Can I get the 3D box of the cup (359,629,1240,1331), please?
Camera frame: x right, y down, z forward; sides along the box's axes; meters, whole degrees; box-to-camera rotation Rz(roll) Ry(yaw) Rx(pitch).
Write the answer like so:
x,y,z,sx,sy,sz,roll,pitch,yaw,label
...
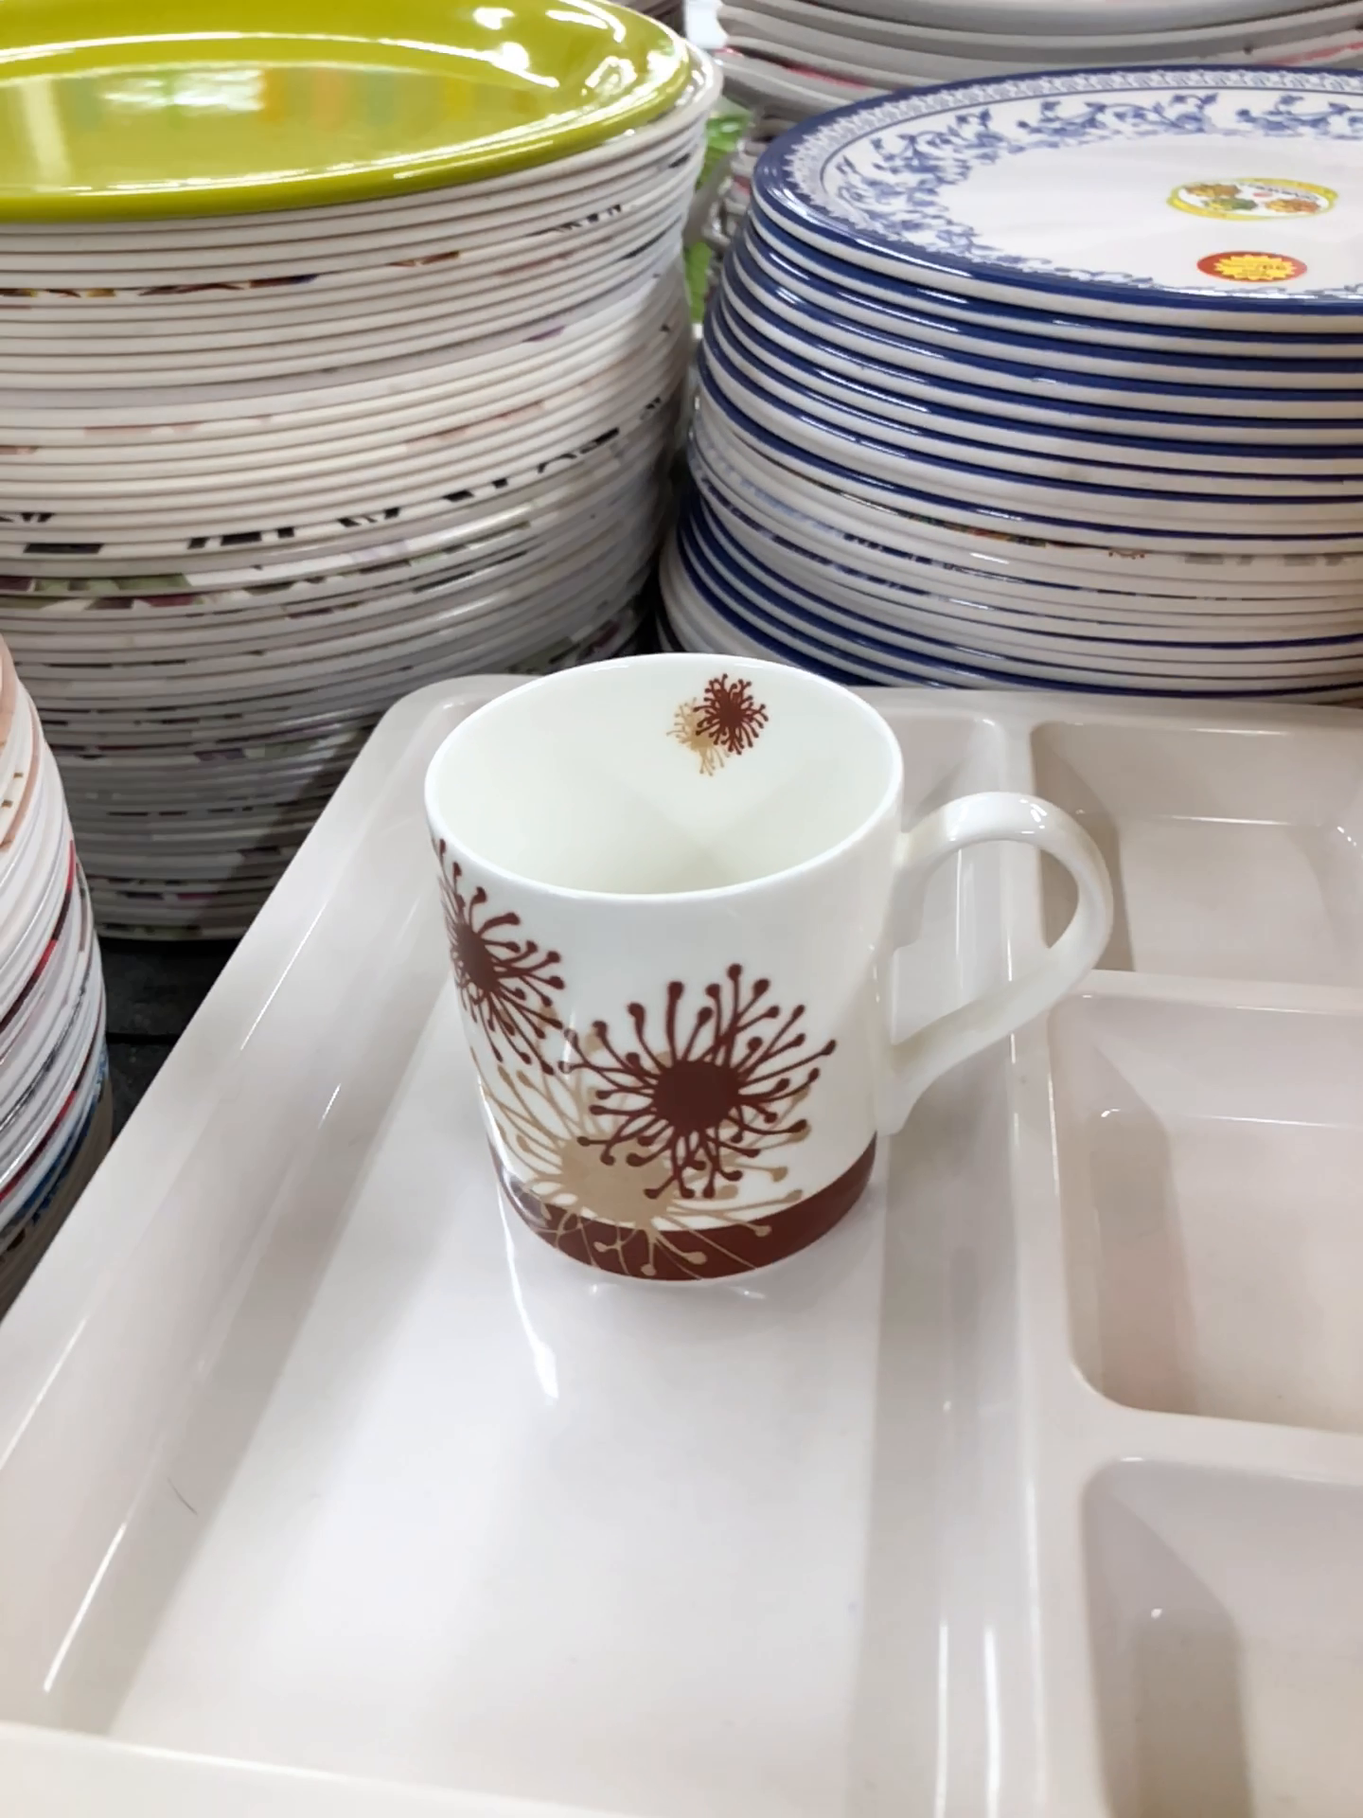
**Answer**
x,y,z,sx,sy,sz,roll,pitch,yaw,label
0.019,0.010,0.266,0.120,0.089,0.081,1,37,4,cup
